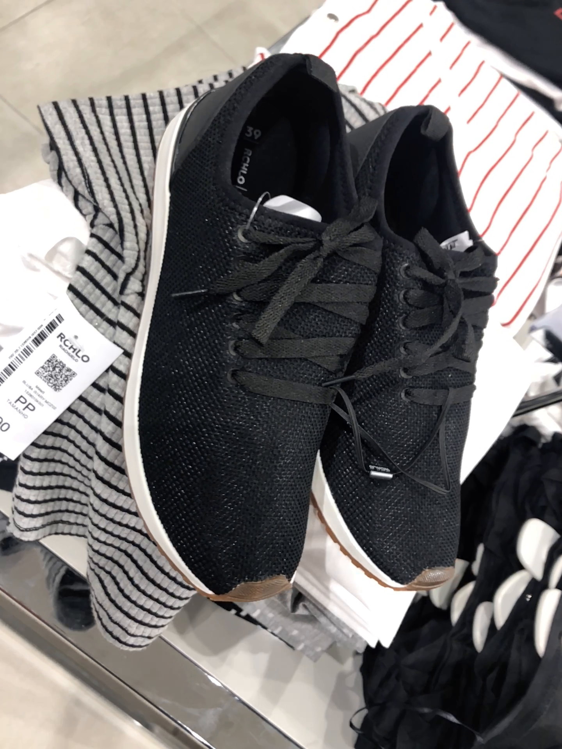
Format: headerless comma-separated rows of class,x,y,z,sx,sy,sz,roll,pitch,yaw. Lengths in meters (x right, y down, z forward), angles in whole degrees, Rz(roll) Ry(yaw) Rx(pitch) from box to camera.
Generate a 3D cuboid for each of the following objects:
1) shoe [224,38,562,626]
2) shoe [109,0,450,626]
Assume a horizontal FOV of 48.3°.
shoe,0.057,-0.018,0.340,0.100,0.119,0.270,0,70,-29
shoe,-0.011,-0.030,0.298,0.100,0.119,0.260,6,73,-27
